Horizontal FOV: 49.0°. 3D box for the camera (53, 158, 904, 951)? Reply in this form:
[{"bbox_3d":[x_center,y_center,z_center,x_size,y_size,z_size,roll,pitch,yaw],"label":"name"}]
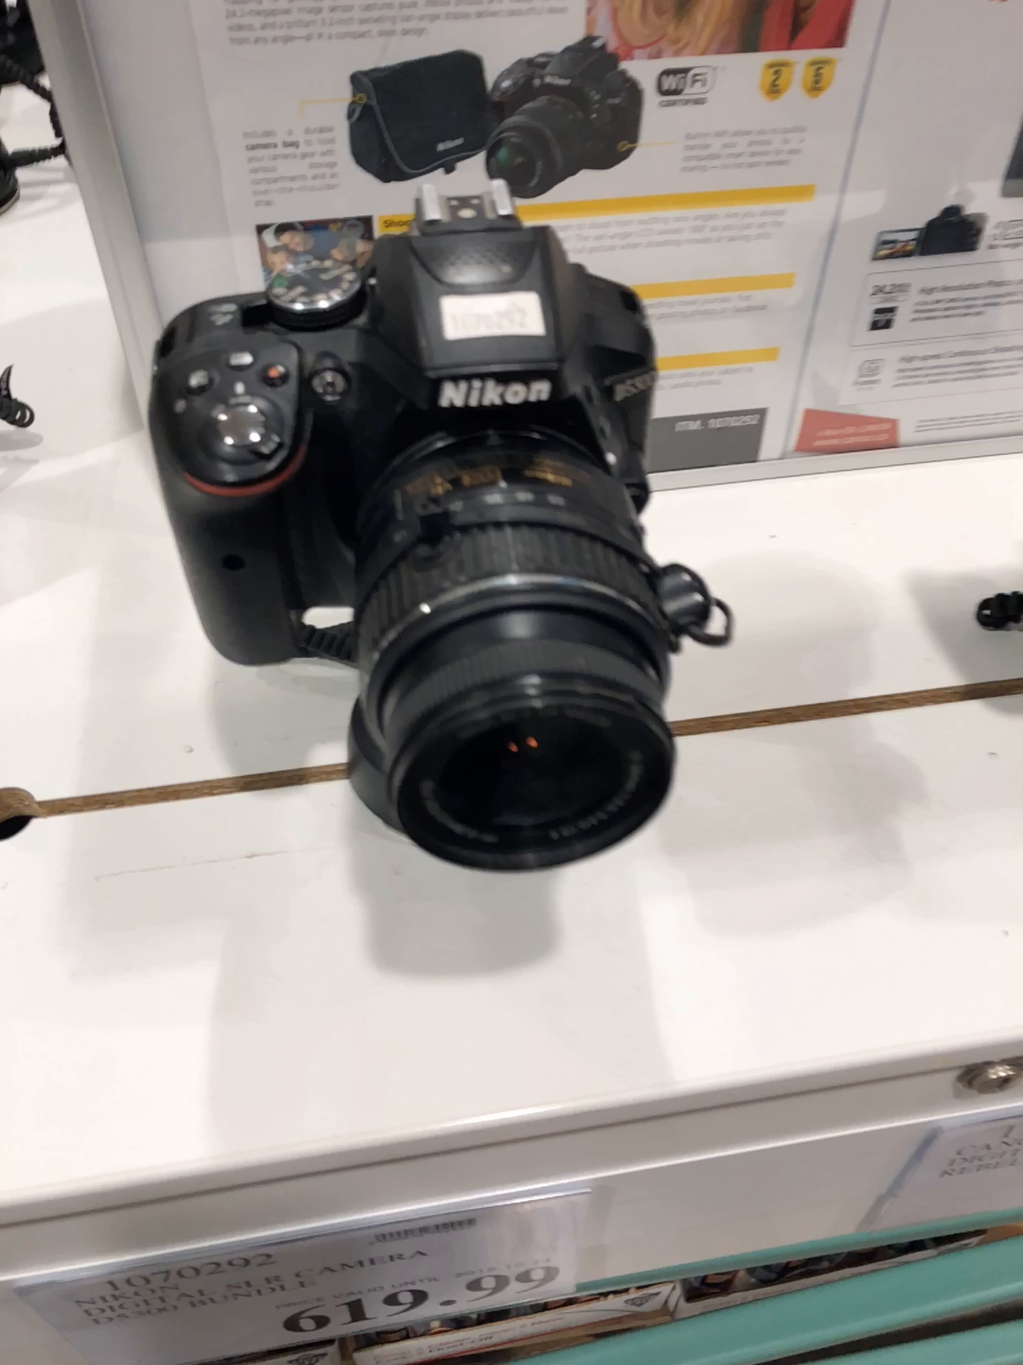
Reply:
[{"bbox_3d":[-0.016,-0.036,0.248,0.130,0.090,0.140,-8,48,-8],"label":"camera"}]
